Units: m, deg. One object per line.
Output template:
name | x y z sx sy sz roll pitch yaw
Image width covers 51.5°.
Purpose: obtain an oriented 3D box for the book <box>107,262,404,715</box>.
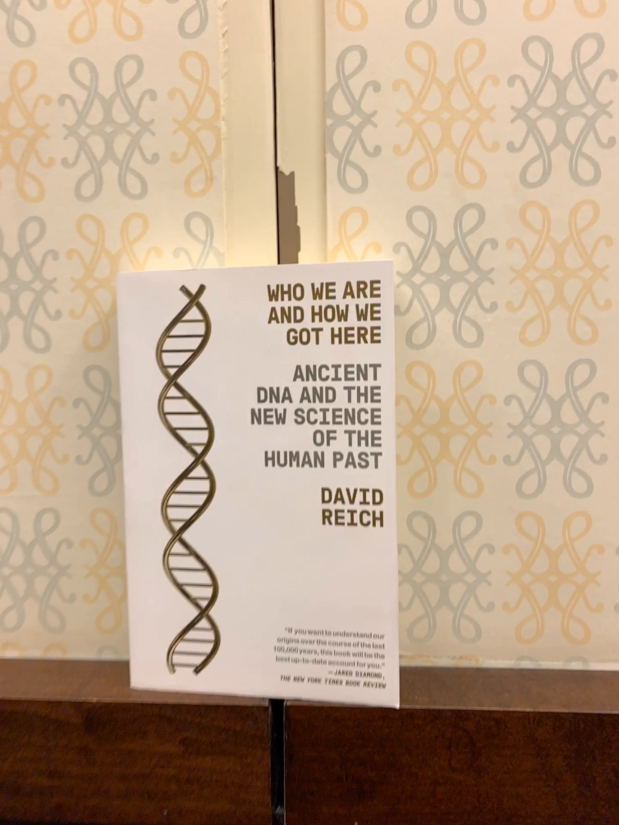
book | -0.022 0.034 0.303 0.127 0.199 0.041 -1 4 3
